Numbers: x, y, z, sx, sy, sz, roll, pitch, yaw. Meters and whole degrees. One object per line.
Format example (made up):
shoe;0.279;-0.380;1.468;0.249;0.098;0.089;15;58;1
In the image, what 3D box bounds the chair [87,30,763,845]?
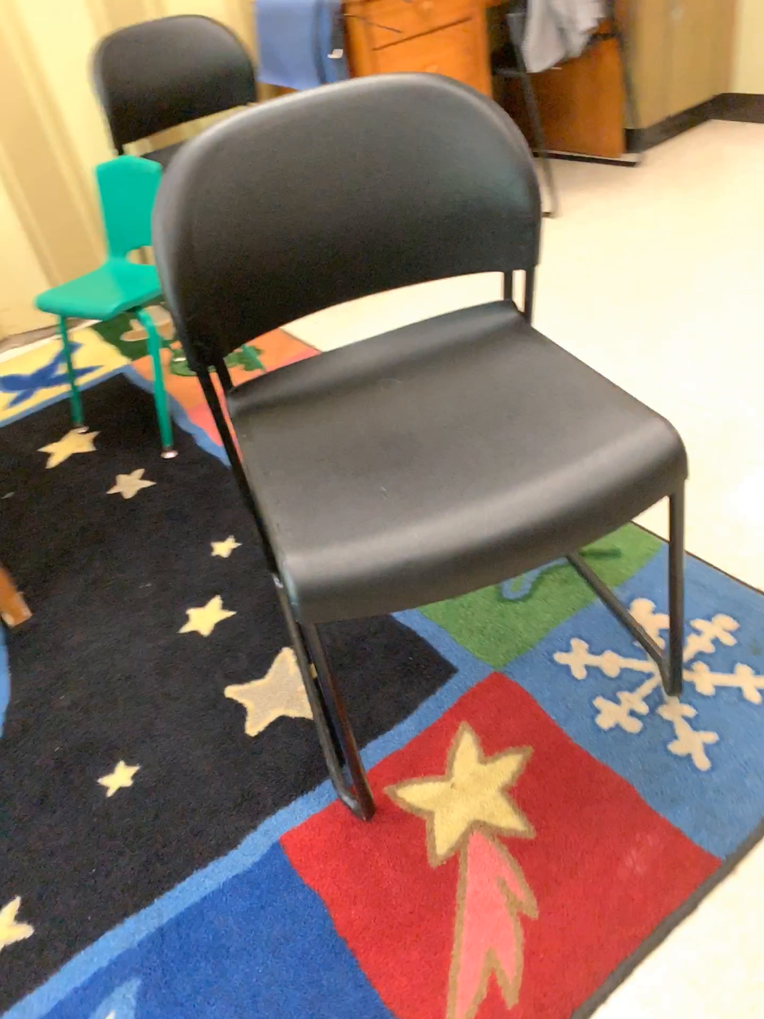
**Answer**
chair;0.044;-0.123;1.069;0.590;0.775;0.614;-19;38;-8
